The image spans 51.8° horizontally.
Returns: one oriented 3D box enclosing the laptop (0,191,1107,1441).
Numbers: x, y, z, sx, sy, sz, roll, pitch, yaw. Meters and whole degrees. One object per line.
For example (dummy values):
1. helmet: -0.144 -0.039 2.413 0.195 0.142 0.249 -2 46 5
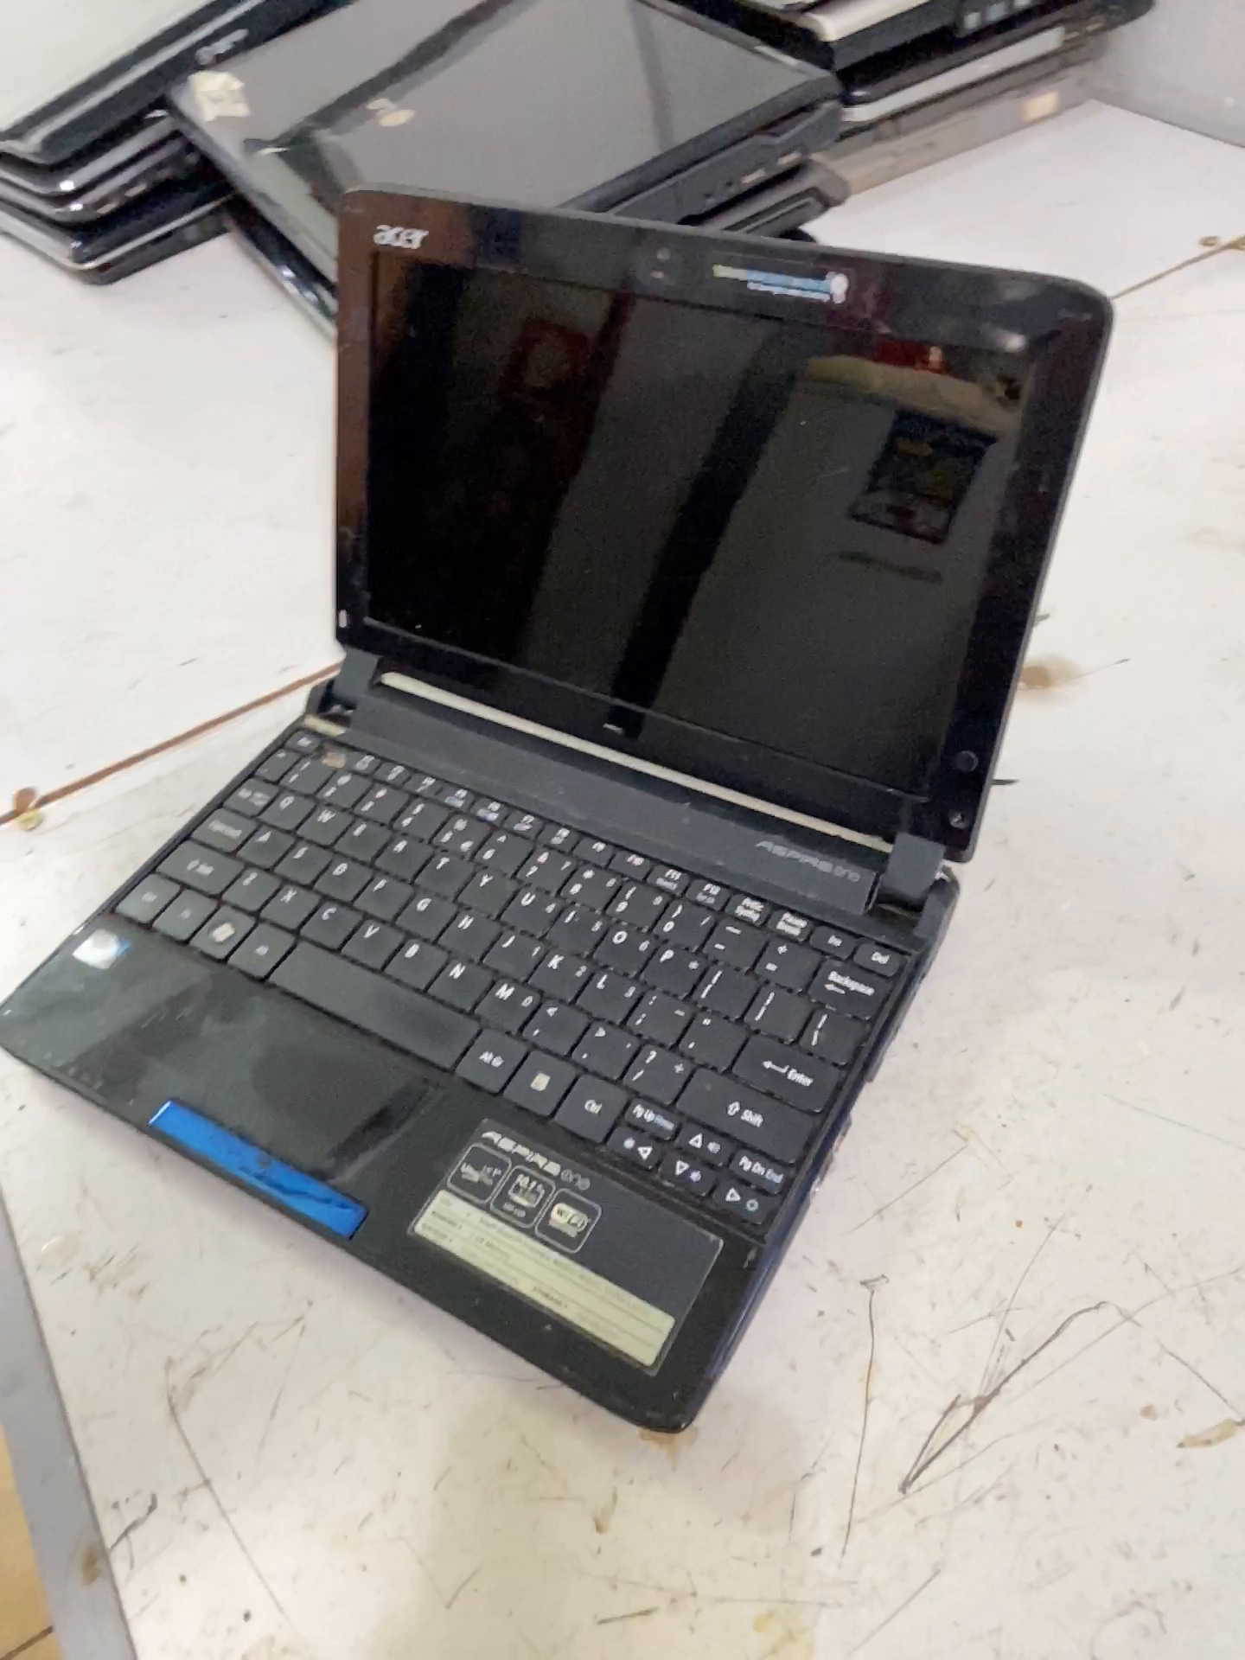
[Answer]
1. laptop: -0.042 -0.037 0.363 0.253 0.144 0.260 20 56 26
